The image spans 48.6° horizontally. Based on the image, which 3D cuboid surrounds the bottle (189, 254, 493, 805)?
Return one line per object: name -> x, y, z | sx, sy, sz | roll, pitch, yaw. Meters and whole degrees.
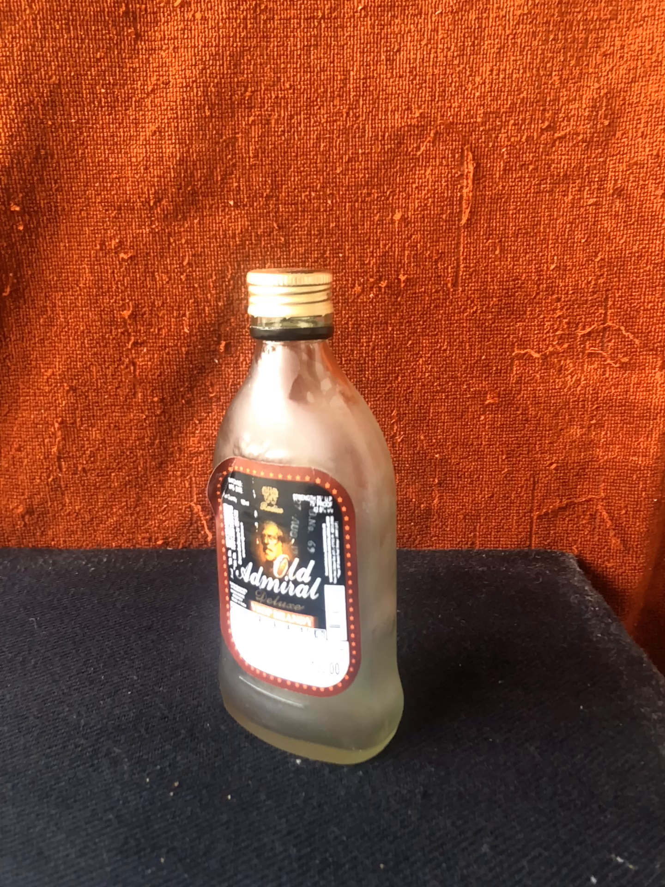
bottle -> 0.001, 0.021, 0.229 | 0.070, 0.149, 0.050 | 11, 19, 28
